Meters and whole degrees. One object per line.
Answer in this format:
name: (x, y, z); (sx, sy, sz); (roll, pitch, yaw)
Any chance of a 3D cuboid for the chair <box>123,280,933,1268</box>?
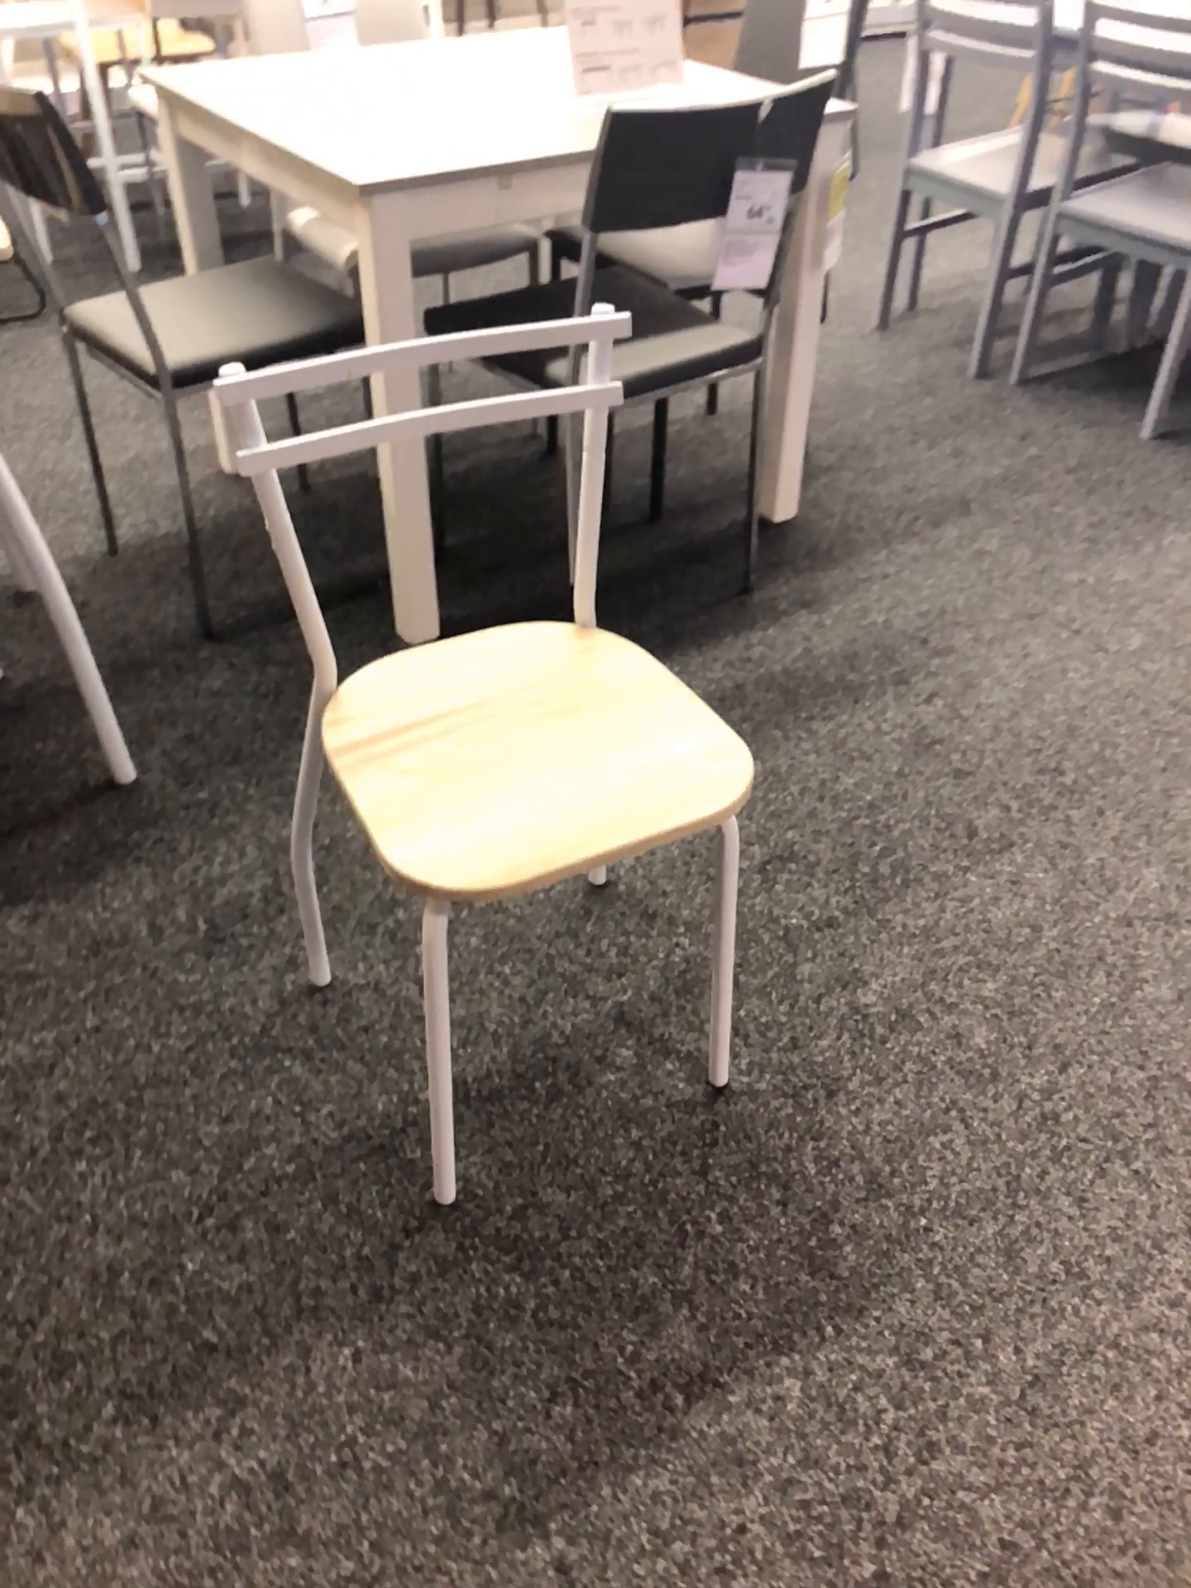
chair: (-0.070, -0.031, 1.278); (0.502, 0.726, 0.441); (-21, 43, -25)
